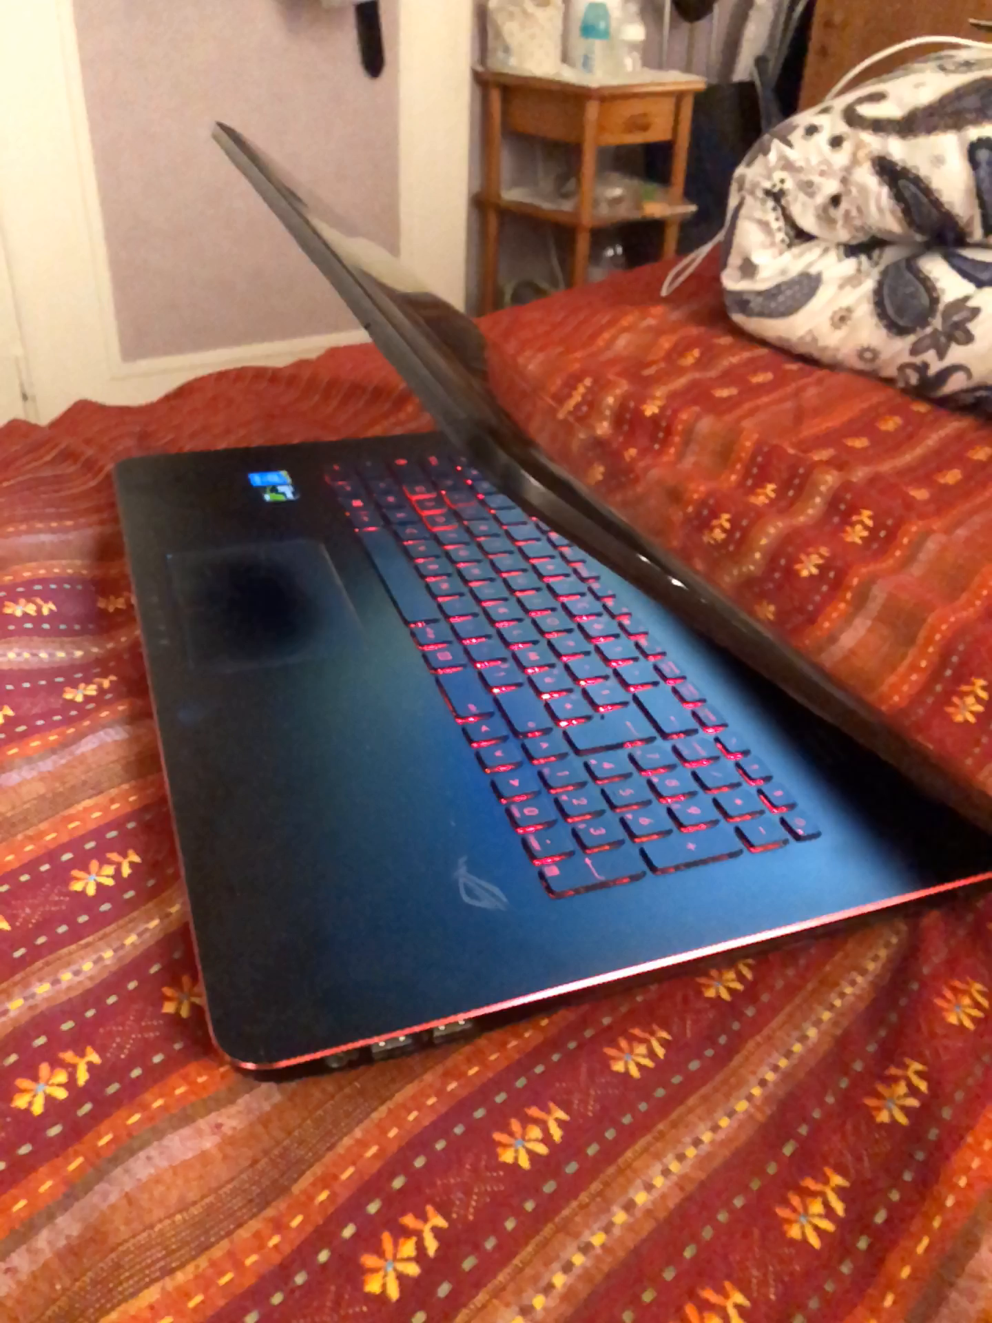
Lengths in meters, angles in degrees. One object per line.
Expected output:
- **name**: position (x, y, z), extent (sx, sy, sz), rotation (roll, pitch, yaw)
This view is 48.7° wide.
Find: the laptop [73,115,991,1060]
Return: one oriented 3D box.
- **laptop**: position (-0.009, -0.093, 0.442), extent (0.268, 0.168, 0.400), rotation (-8, 36, -18)
